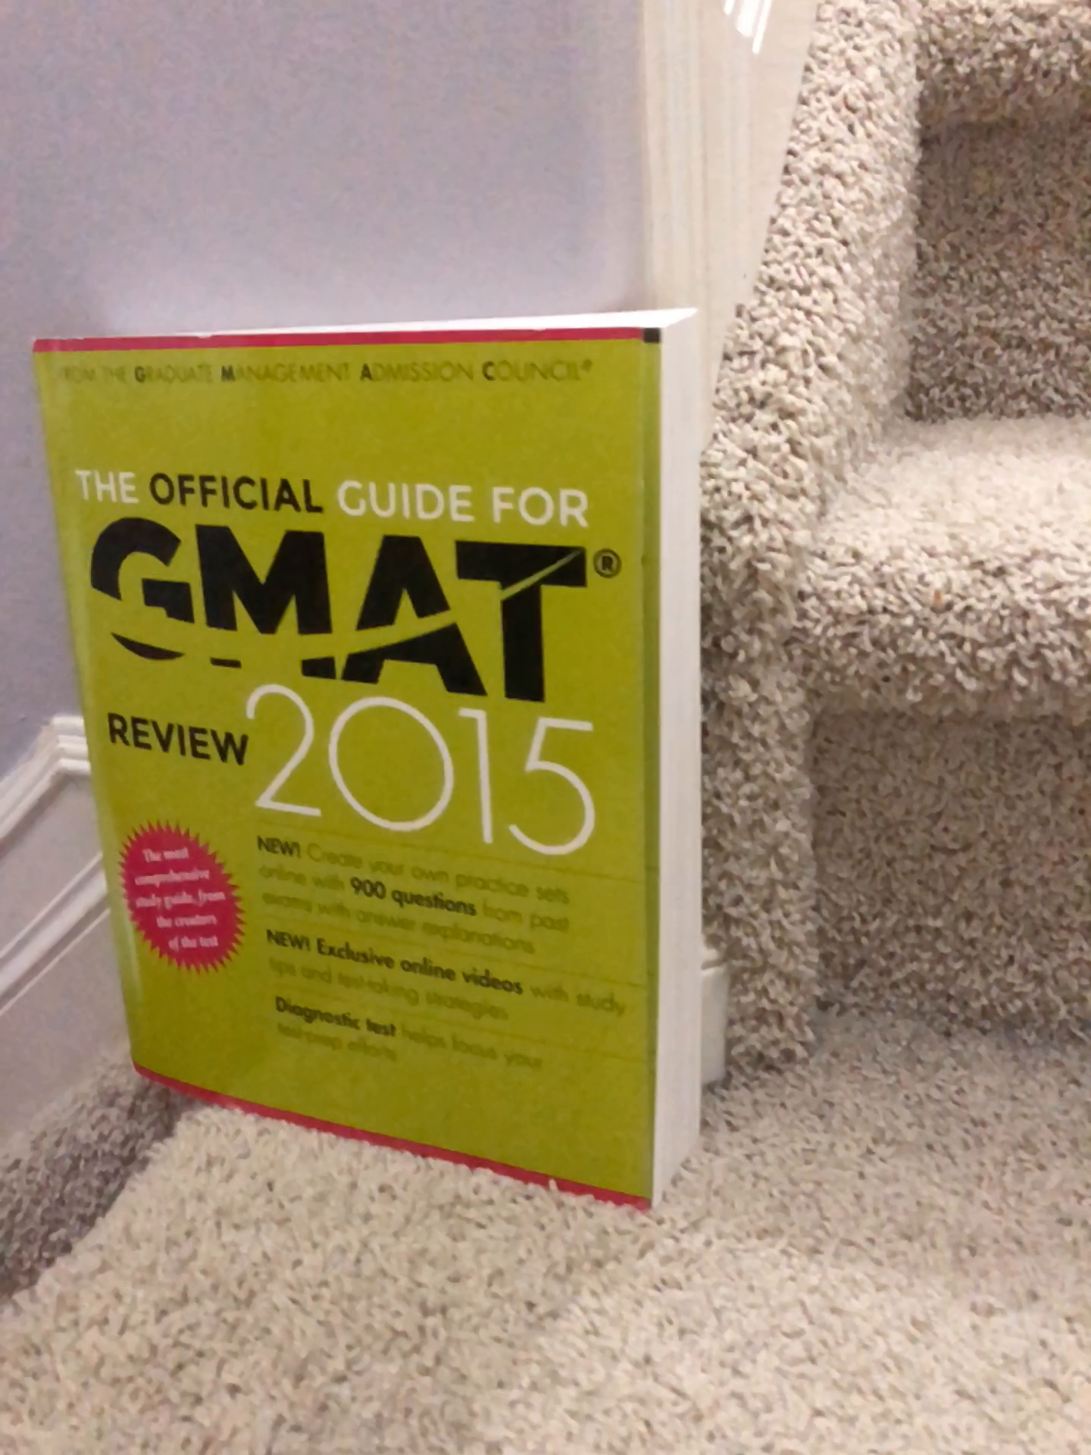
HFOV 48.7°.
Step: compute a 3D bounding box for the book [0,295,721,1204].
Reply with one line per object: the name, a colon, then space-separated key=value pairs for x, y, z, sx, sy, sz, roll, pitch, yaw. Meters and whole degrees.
book: x=-0.061 y=0.006 z=0.413 sx=0.236 sy=0.277 sz=0.040 roll=5 pitch=18 yaw=23
